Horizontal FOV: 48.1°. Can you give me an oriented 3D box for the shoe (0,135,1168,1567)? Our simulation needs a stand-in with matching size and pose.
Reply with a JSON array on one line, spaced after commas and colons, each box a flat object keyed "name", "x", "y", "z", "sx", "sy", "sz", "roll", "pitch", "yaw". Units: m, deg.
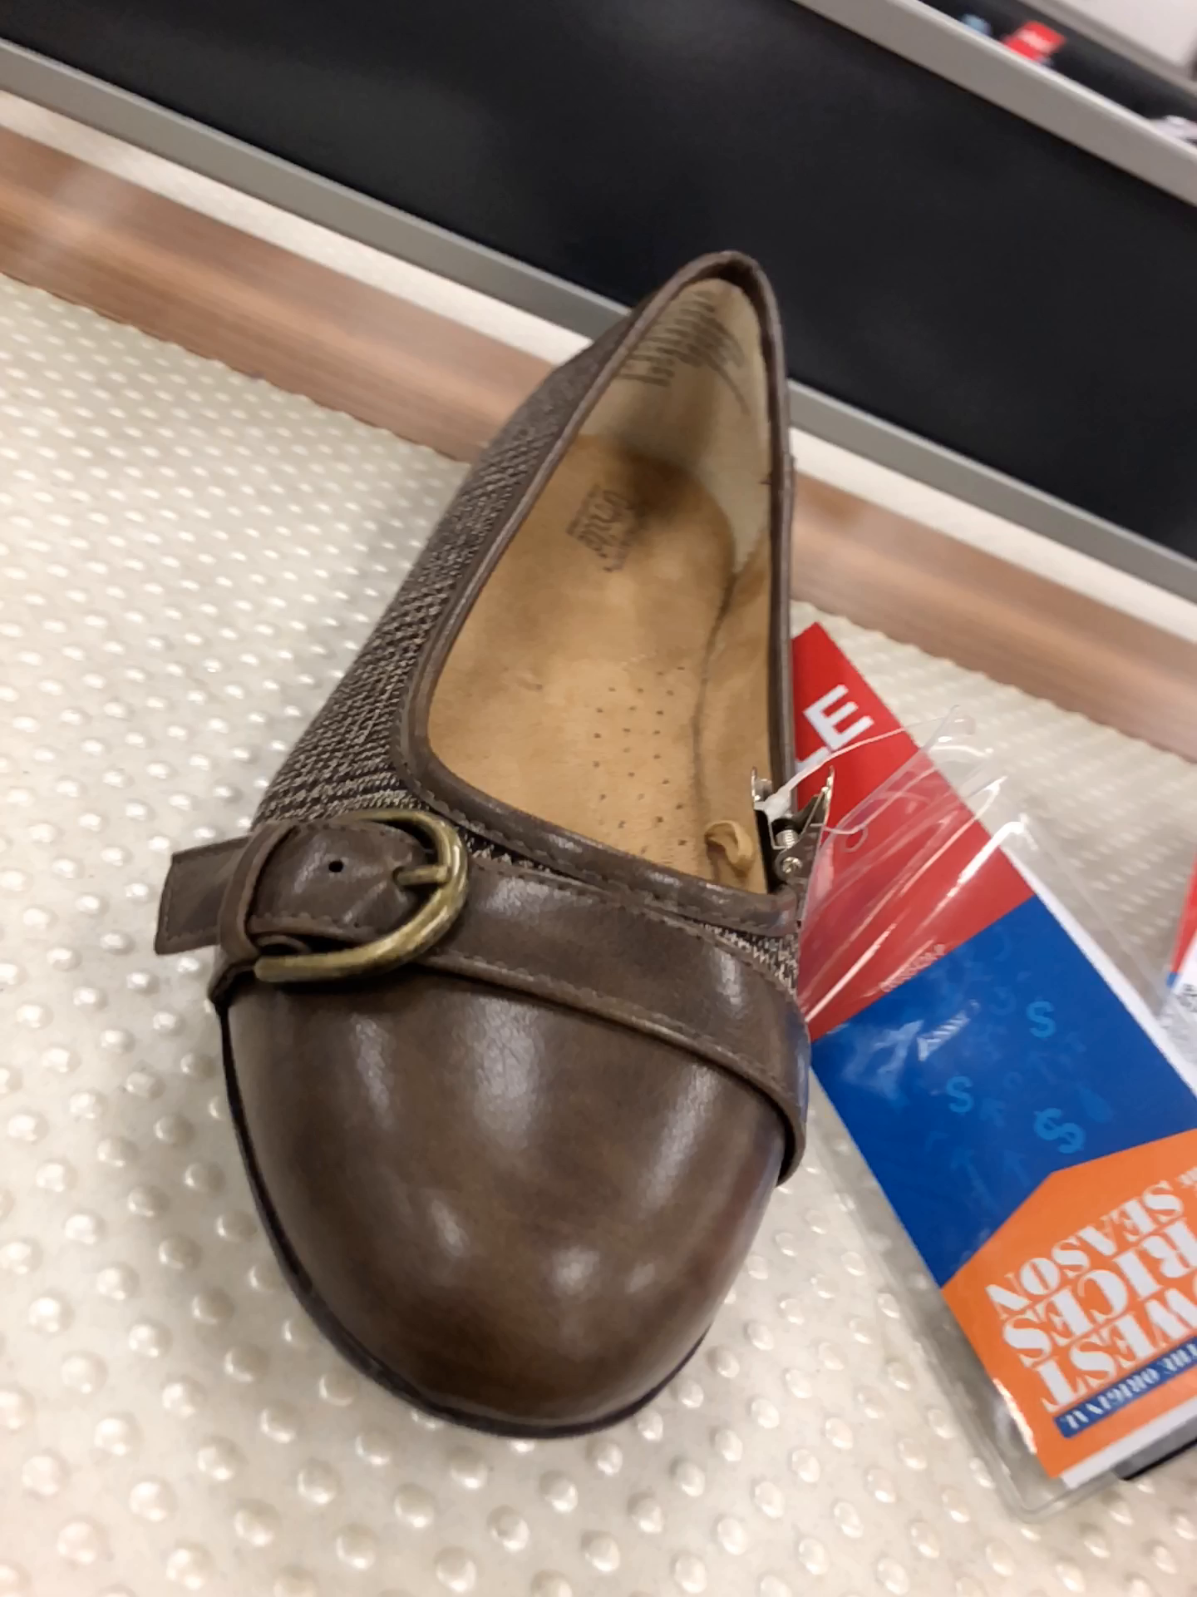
[{"name": "shoe", "x": 0.004, "y": -0.034, "z": 0.245, "sx": 0.092, "sy": 0.080, "sz": 0.279, "roll": 21, "pitch": 35, "yaw": -9}]
